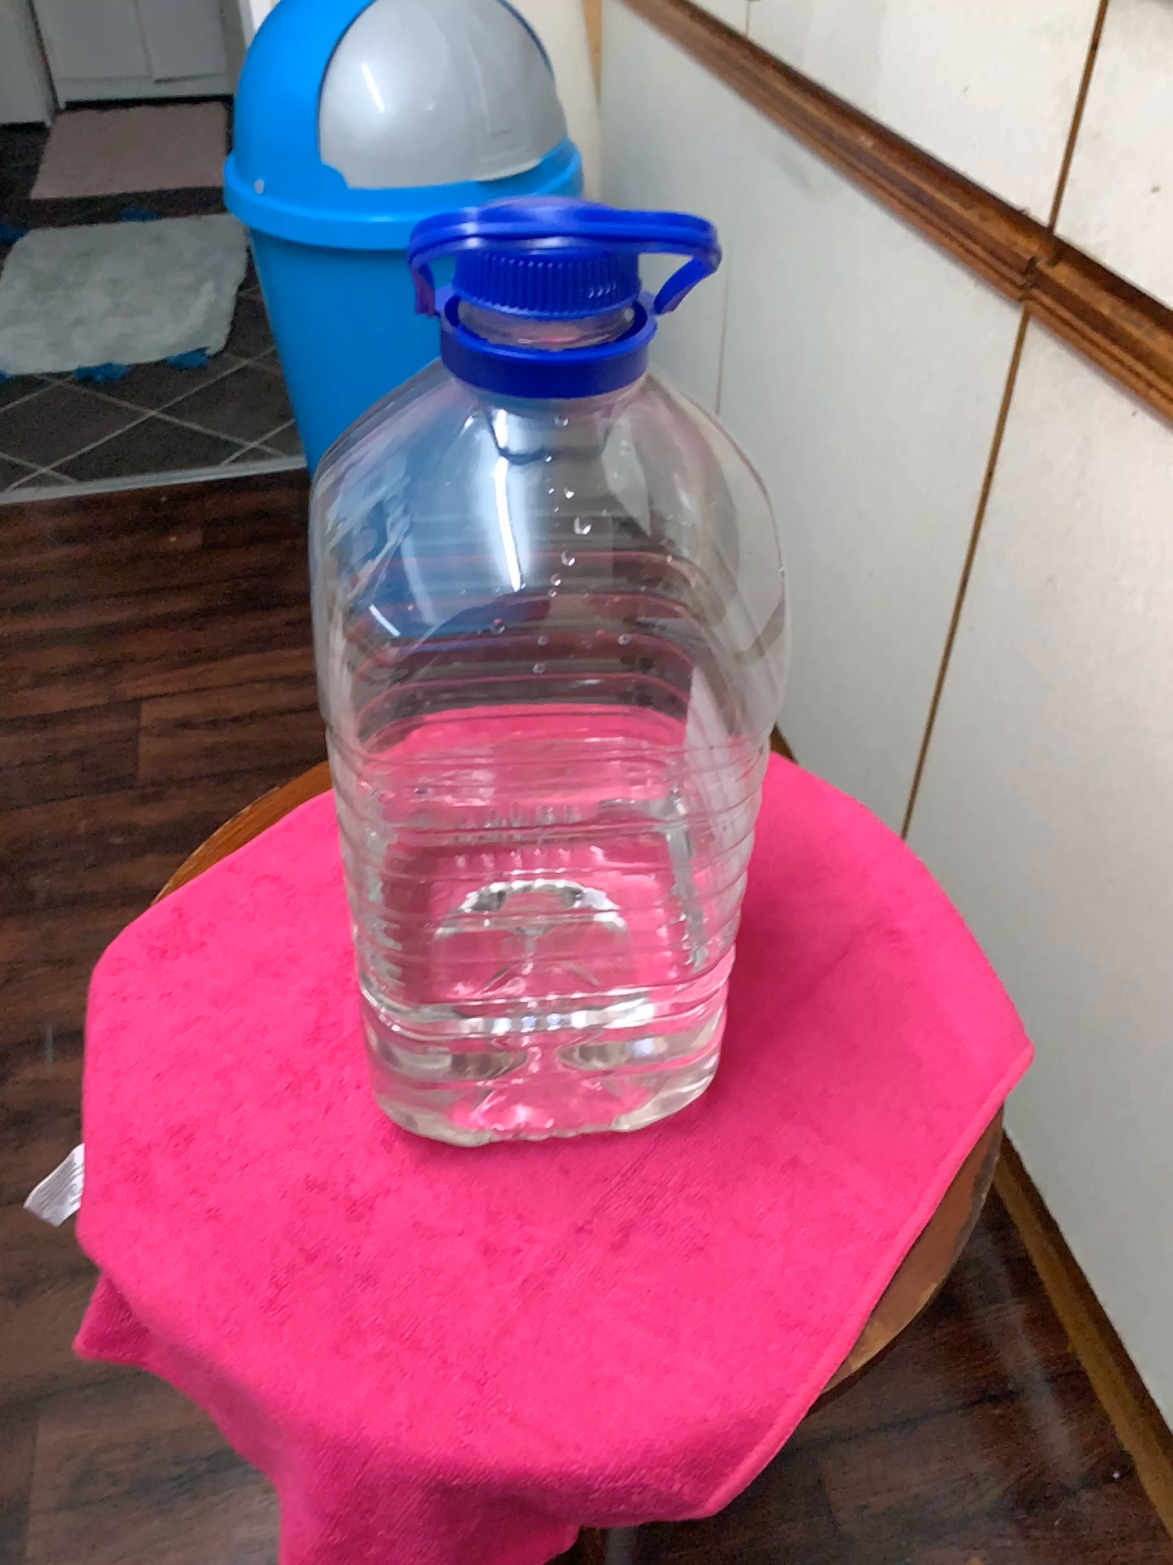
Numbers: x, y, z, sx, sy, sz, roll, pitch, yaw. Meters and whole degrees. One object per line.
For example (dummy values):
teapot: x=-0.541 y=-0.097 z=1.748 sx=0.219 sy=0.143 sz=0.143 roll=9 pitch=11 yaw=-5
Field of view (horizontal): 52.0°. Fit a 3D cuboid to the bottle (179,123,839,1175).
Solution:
bottle: x=-0.024 y=-0.026 z=0.420 sx=0.140 sy=0.327 sz=0.151 roll=0 pitch=42 yaw=0
